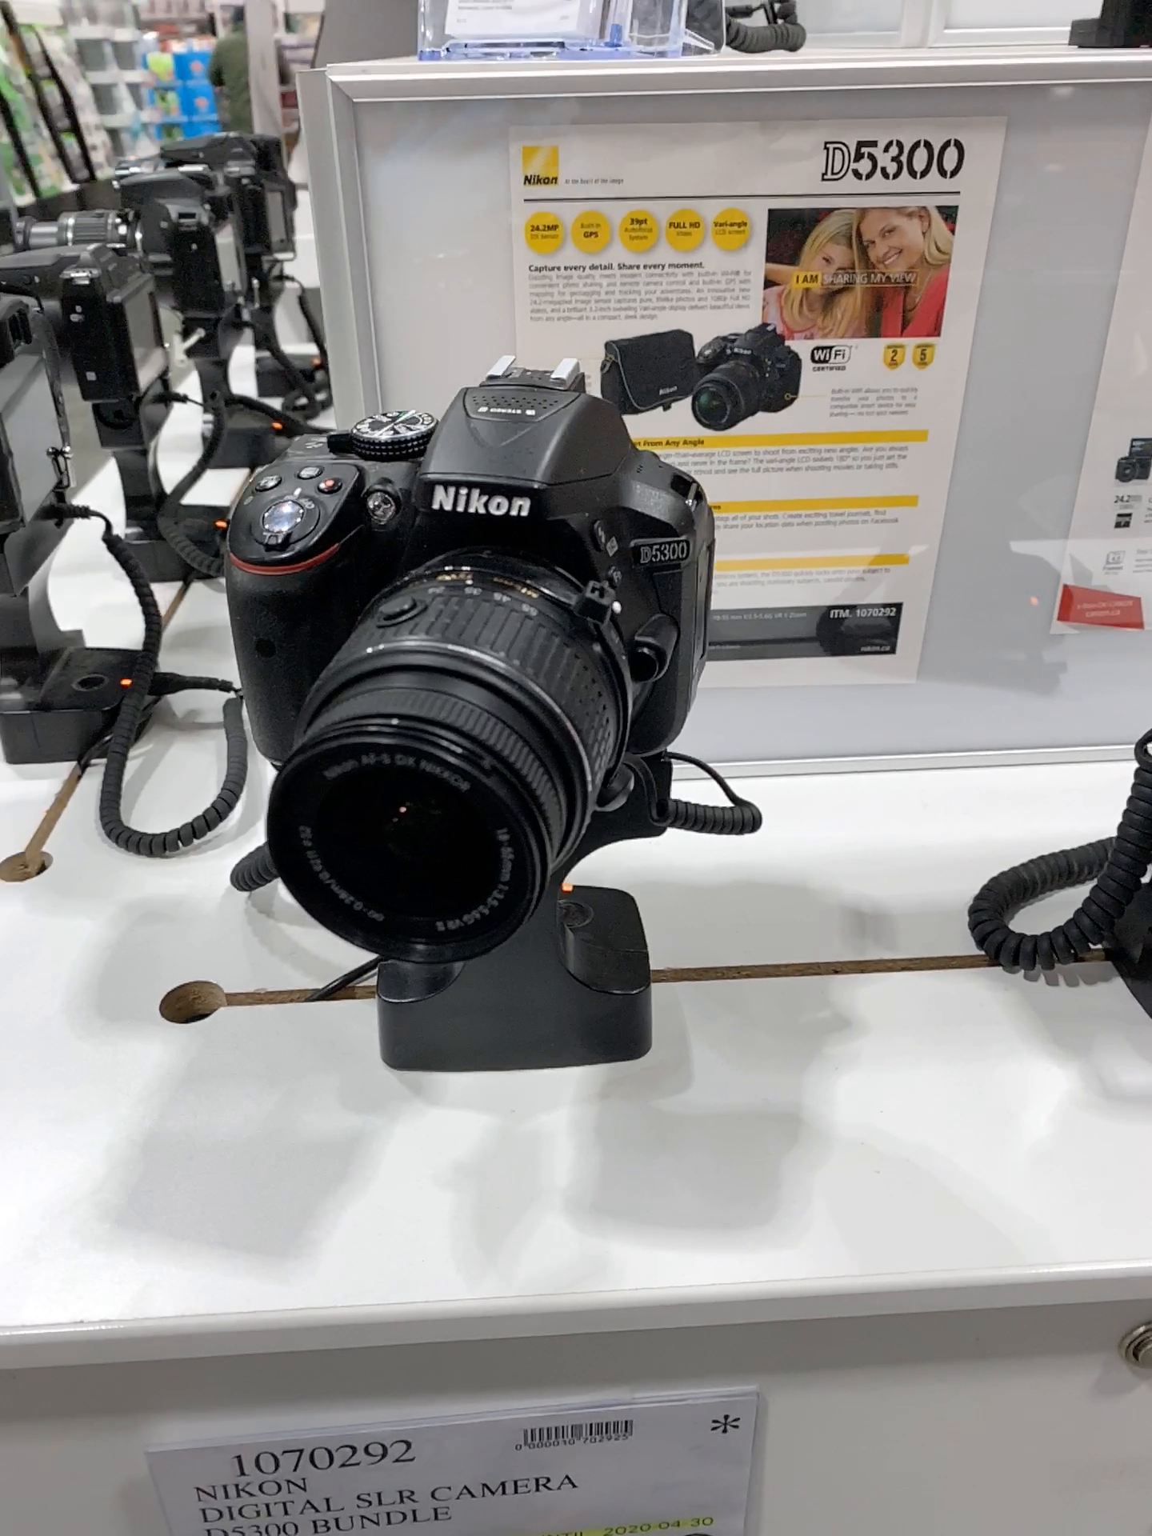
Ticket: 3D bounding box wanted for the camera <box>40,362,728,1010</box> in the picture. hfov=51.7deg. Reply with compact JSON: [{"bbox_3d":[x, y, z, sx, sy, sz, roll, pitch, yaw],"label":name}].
[{"bbox_3d":[-0.027,-0.033,0.298,0.120,0.099,0.151,3,31,8],"label":"camera"}]
